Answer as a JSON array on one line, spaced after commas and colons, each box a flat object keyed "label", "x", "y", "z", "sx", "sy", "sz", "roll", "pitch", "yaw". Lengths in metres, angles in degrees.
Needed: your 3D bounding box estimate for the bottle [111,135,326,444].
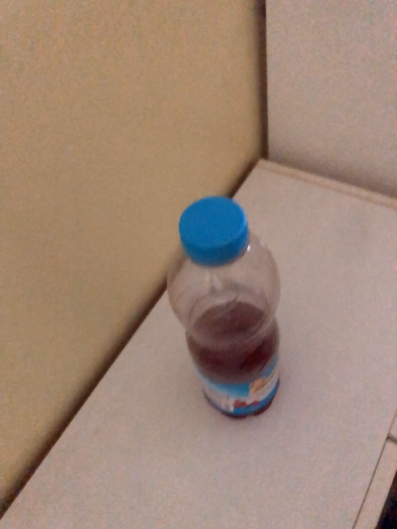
[{"label": "bottle", "x": 0.030, "y": 0.045, "z": 0.346, "sx": 0.080, "sy": 0.269, "sz": 0.090, "roll": 25, "pitch": 63, "yaw": 25}]
